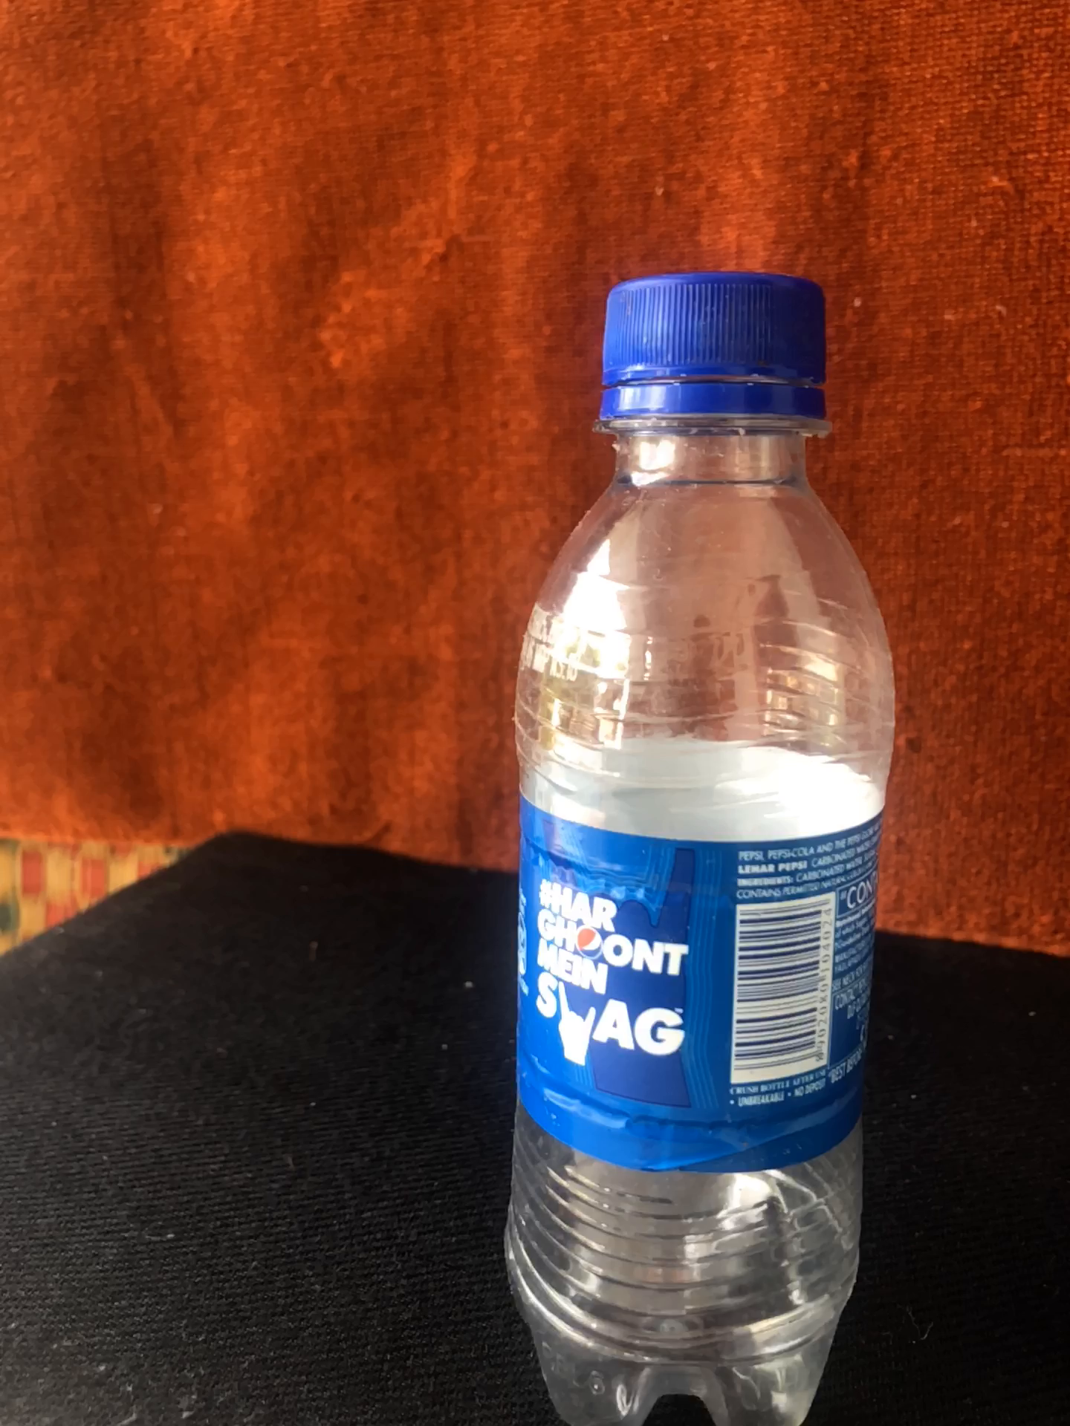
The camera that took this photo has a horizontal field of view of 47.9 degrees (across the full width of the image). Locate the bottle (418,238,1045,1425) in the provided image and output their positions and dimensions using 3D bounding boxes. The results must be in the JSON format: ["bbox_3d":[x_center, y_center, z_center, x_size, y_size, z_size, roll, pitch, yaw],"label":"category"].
[{"bbox_3d":[0.023,0.027,0.173,0.050,0.169,0.060,-13,20,-43],"label":"bottle"}]
